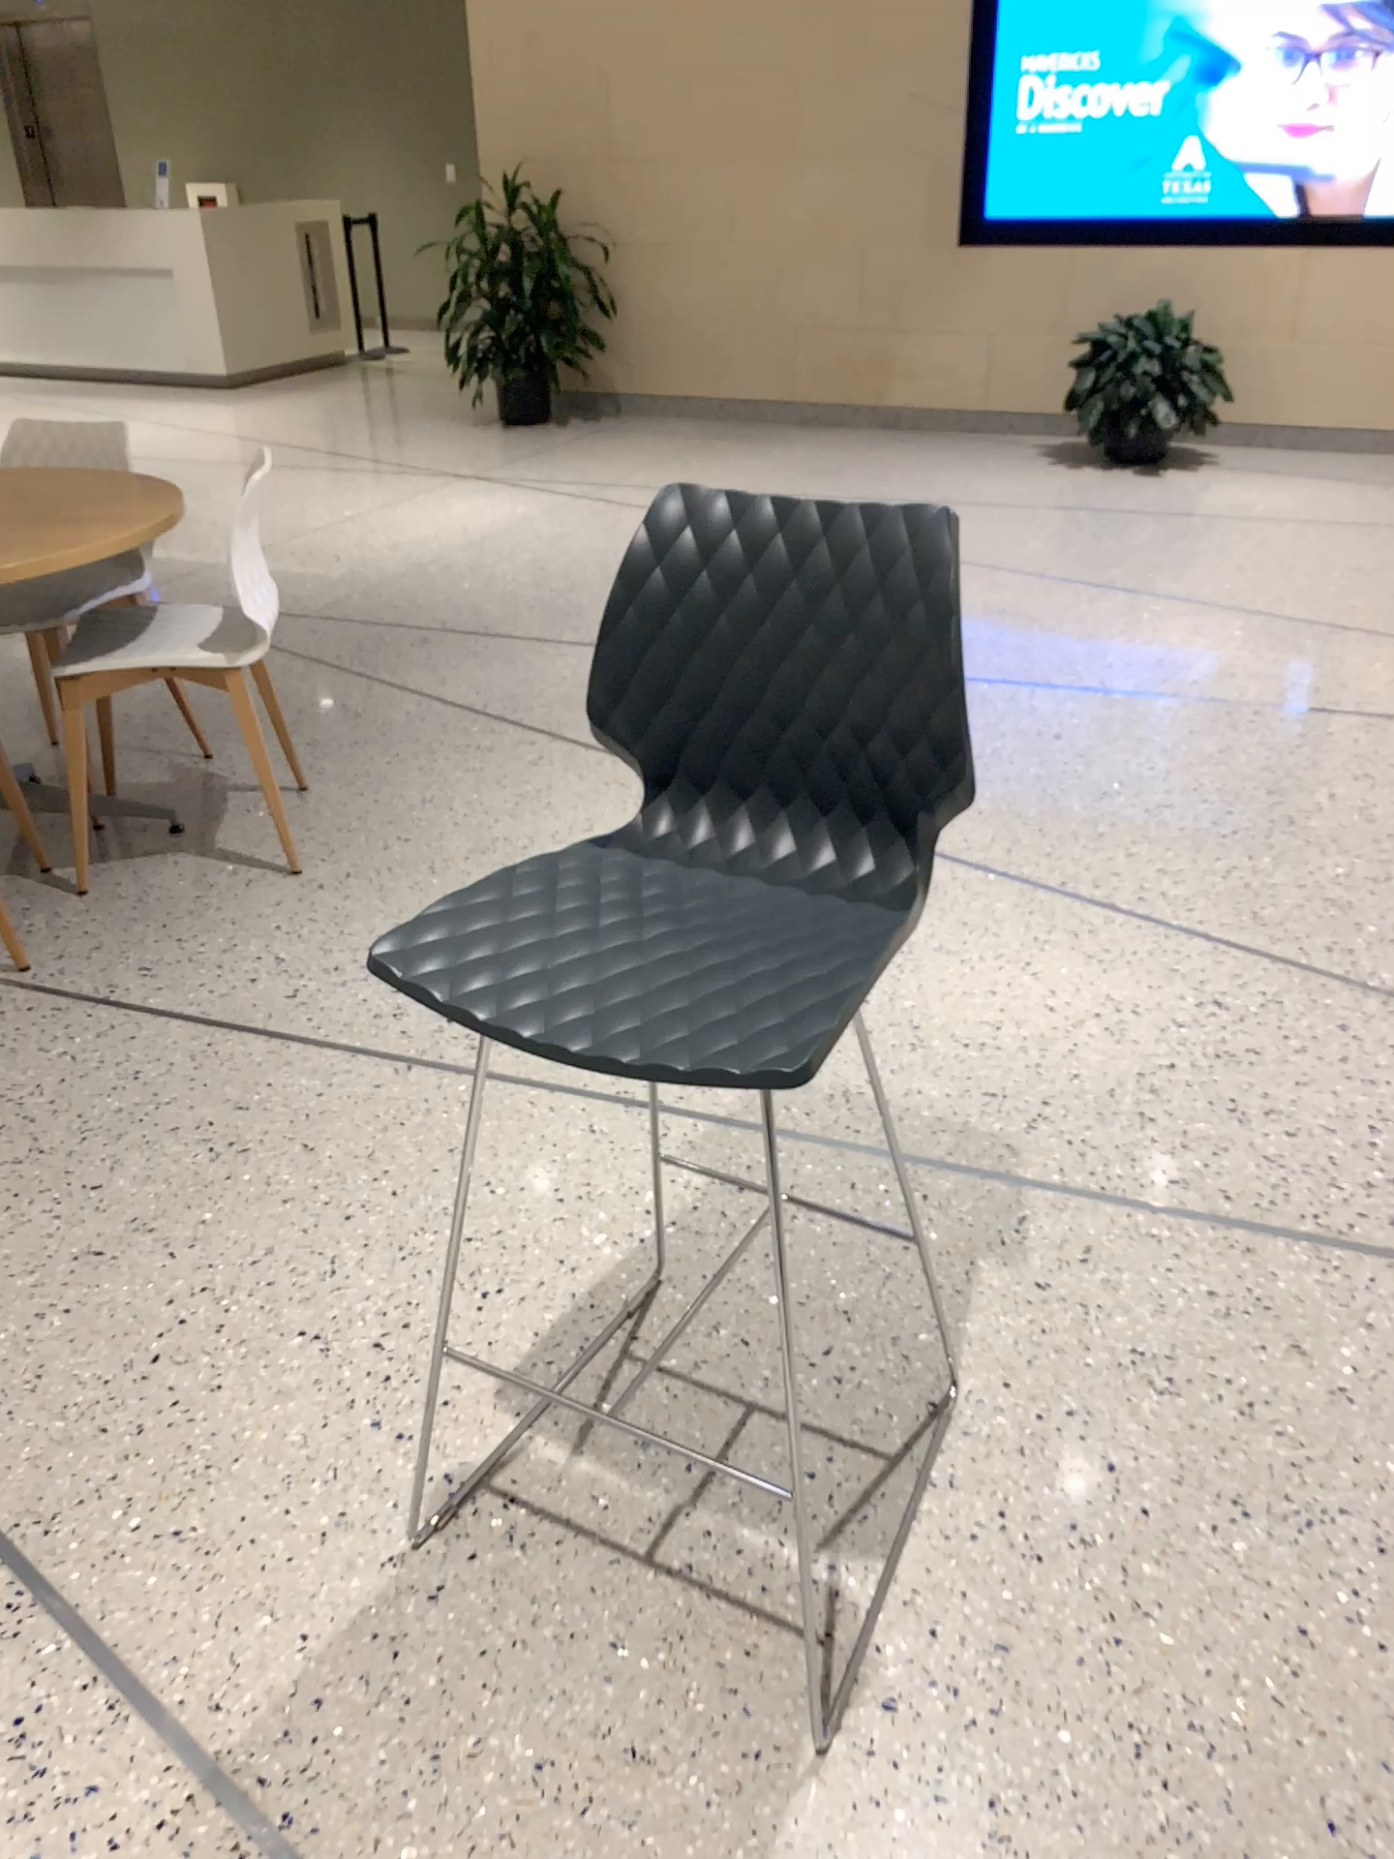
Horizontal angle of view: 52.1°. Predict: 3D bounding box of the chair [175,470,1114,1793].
[{"bbox_3d":[-0.005,0.150,1.351,0.535,0.996,0.534,14,32,27],"label":"chair"}]
